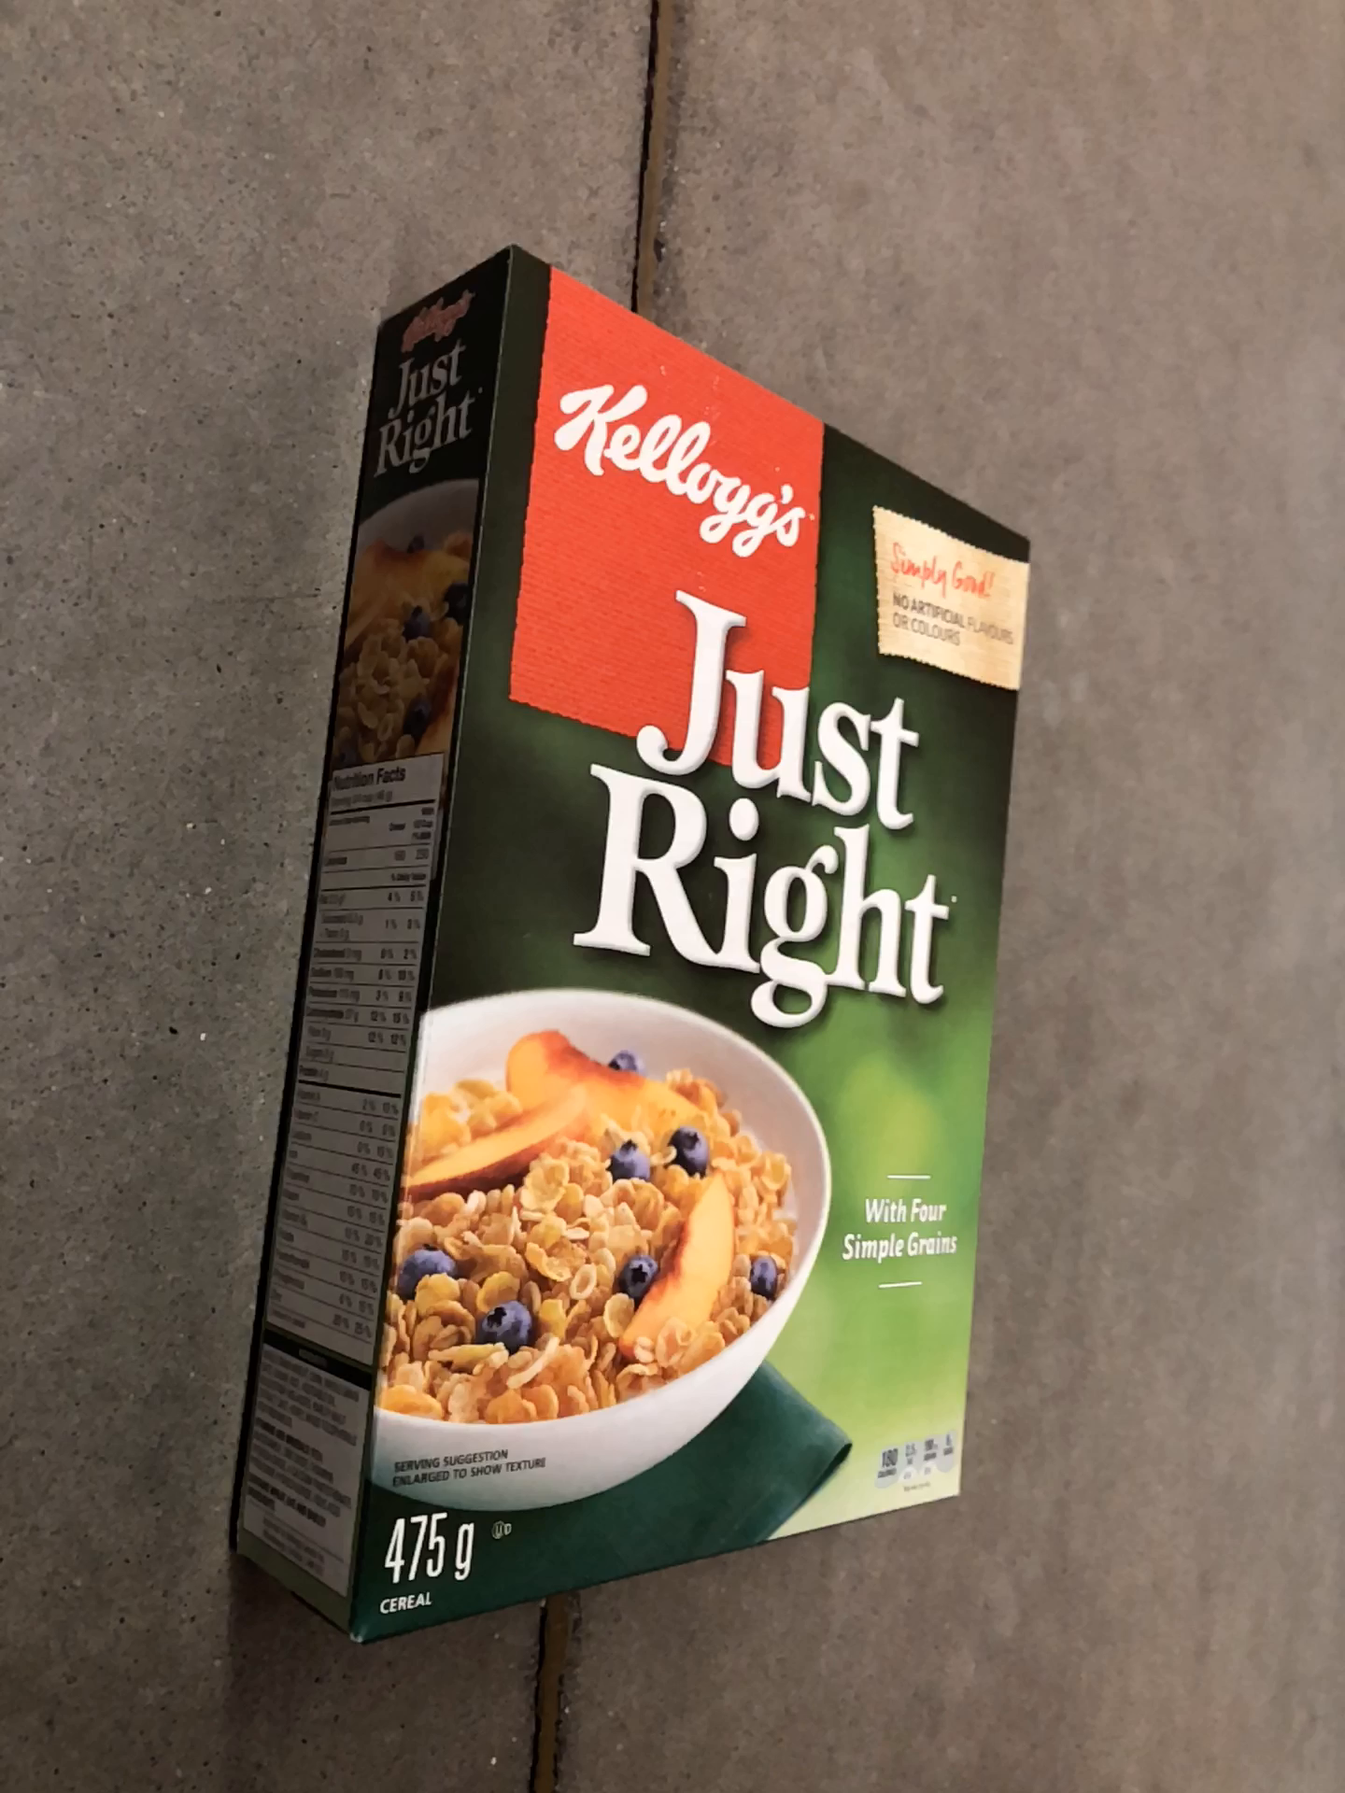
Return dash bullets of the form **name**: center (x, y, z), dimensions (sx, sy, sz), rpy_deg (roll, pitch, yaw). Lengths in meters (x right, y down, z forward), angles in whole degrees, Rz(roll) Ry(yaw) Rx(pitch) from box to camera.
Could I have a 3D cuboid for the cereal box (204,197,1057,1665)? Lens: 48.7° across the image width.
- **cereal box**: center (0.008, 0.014, 0.385), dimensions (0.211, 0.060, 0.290), rpy_deg (11, 81, -44)
